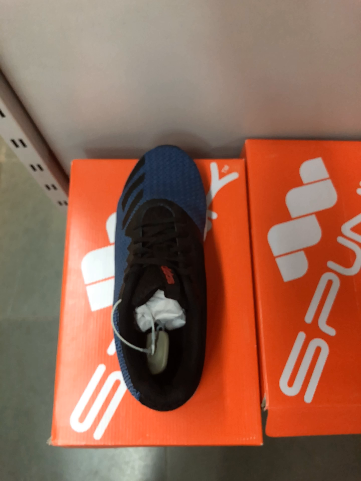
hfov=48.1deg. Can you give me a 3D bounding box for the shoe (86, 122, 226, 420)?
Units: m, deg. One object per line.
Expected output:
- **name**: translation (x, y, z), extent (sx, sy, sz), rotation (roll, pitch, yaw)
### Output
- **shoe**: translation (-0.021, 0.032, 0.405), extent (0.105, 0.136, 0.254), rotation (-2, 72, 0)
